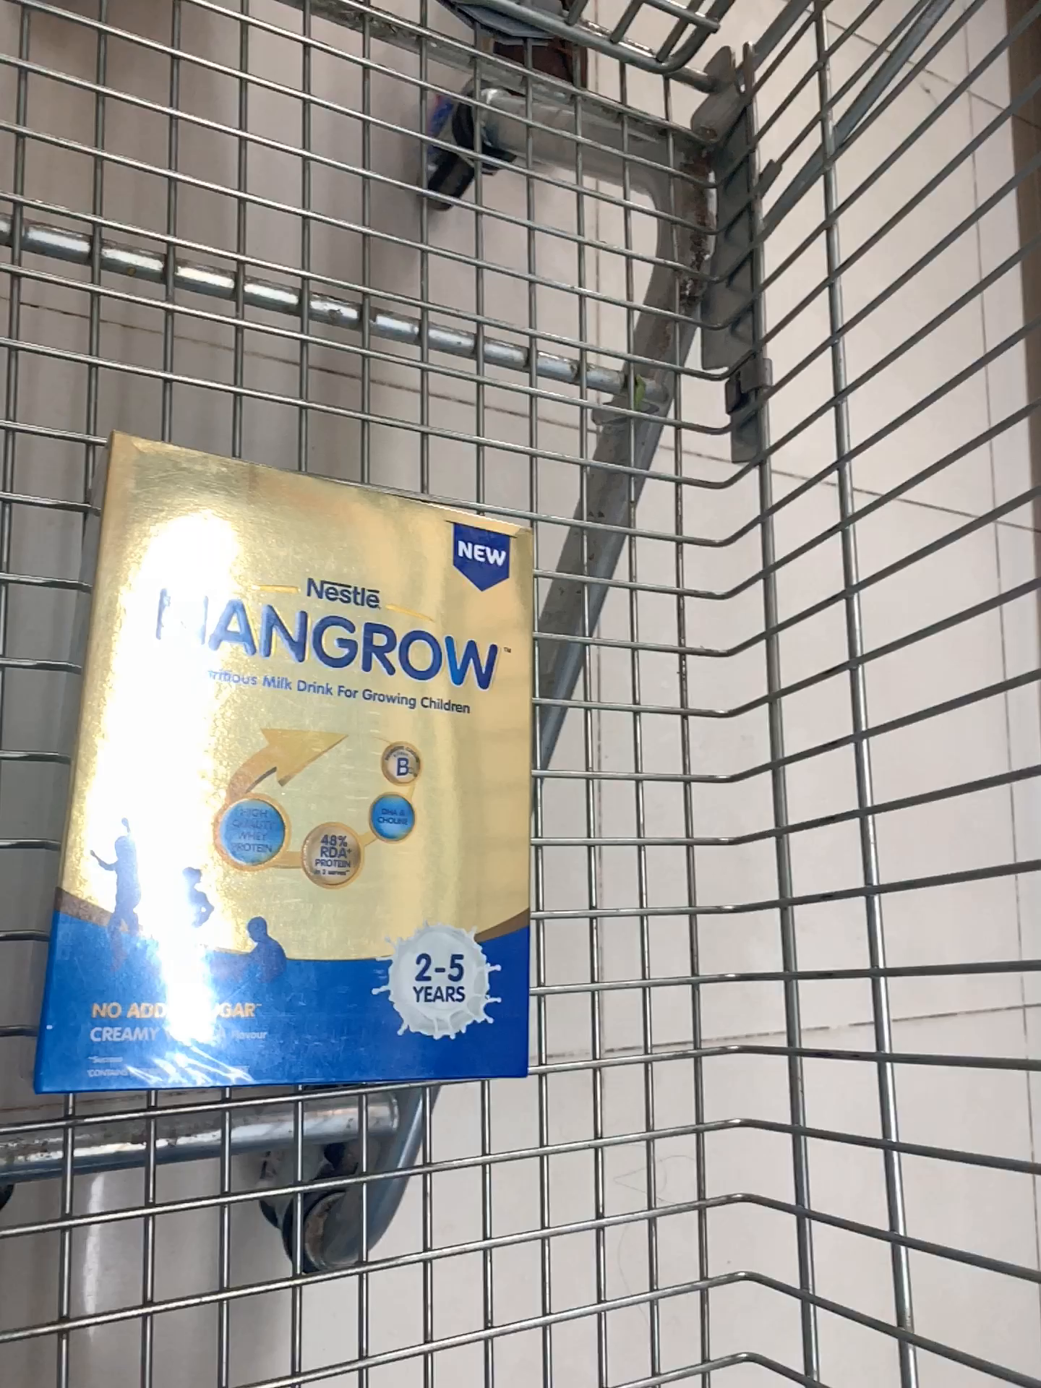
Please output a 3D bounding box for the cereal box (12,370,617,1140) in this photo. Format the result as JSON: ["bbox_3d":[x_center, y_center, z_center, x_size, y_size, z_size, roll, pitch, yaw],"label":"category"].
[{"bbox_3d":[-0.055,0.023,0.323,0.150,0.060,0.190,9,79,-27],"label":"cereal box"}]
